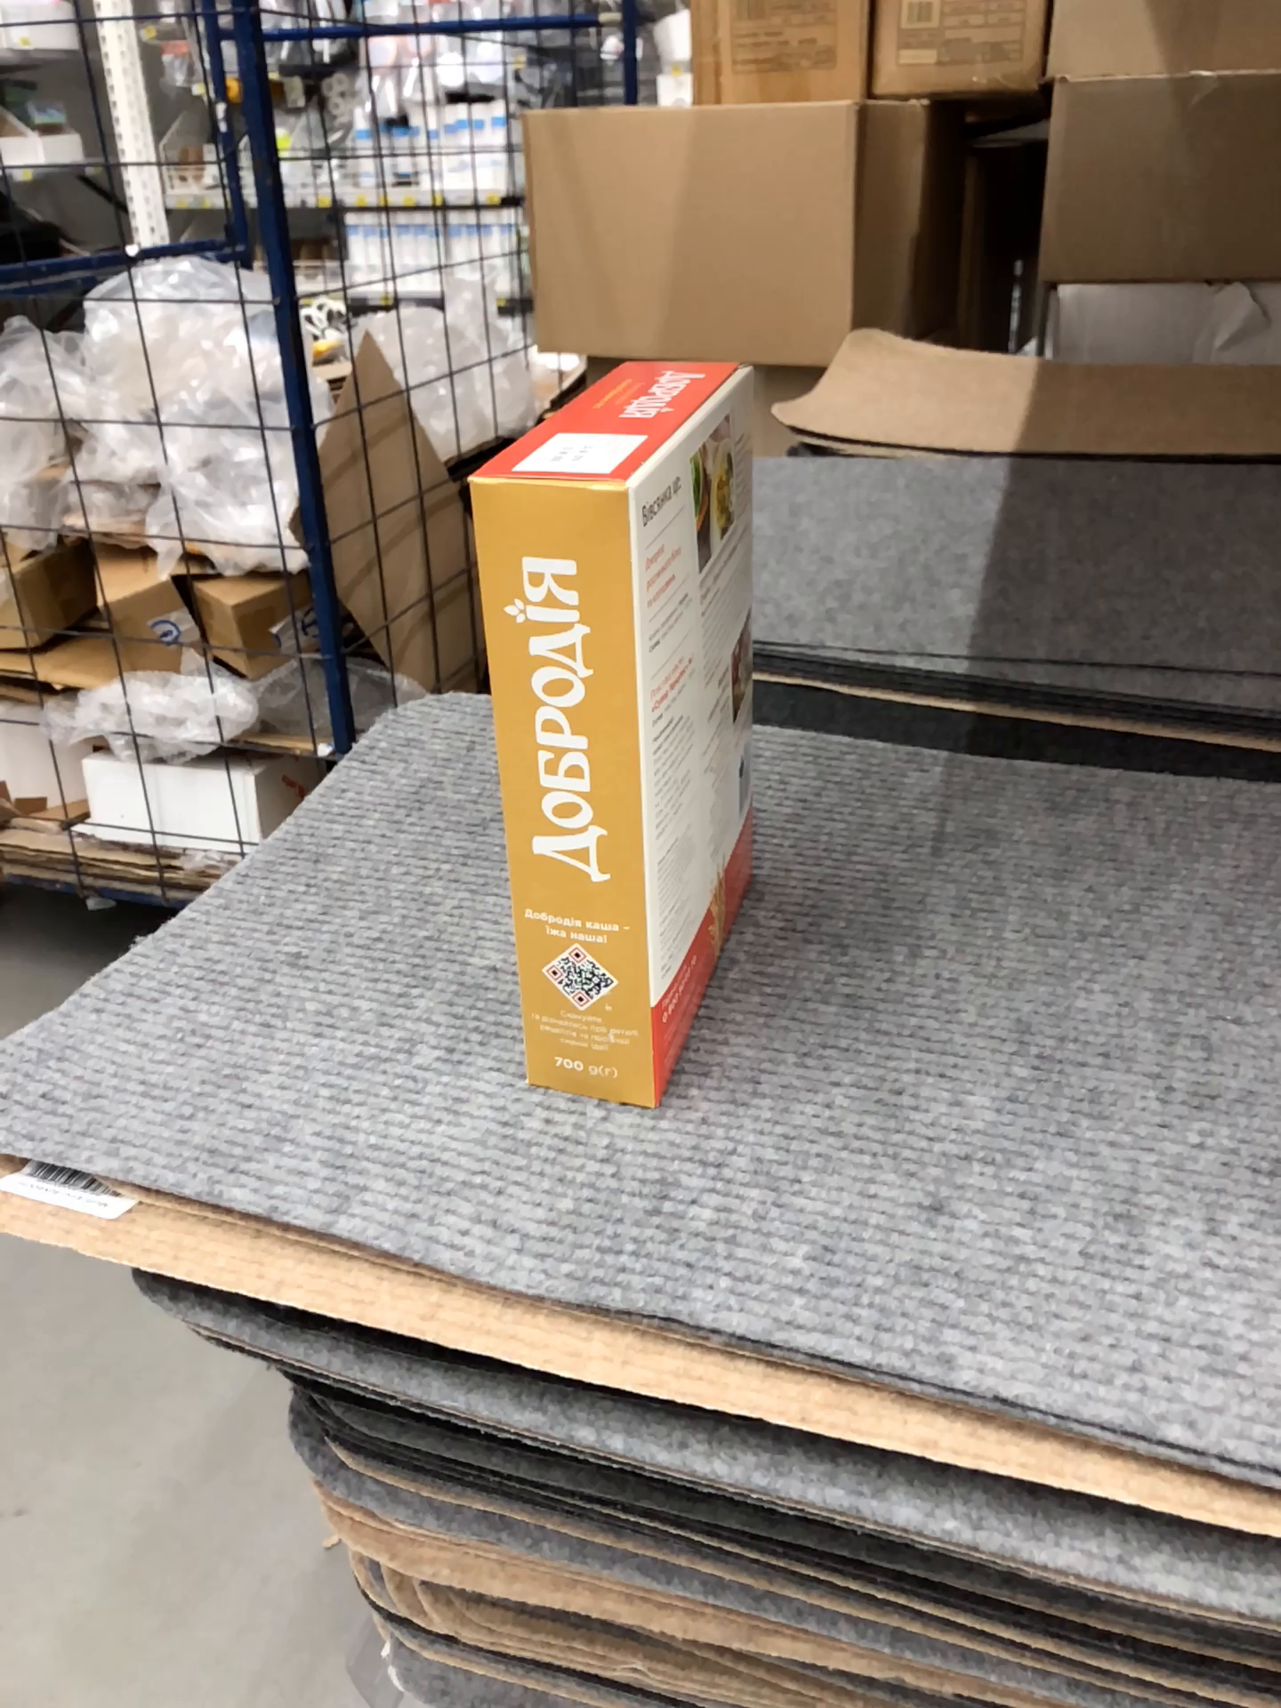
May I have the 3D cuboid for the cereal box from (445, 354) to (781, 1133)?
[{"bbox_3d":[0.003,-0.049,0.522,0.060,0.228,0.181,6,30,15],"label":"cereal box"}]
